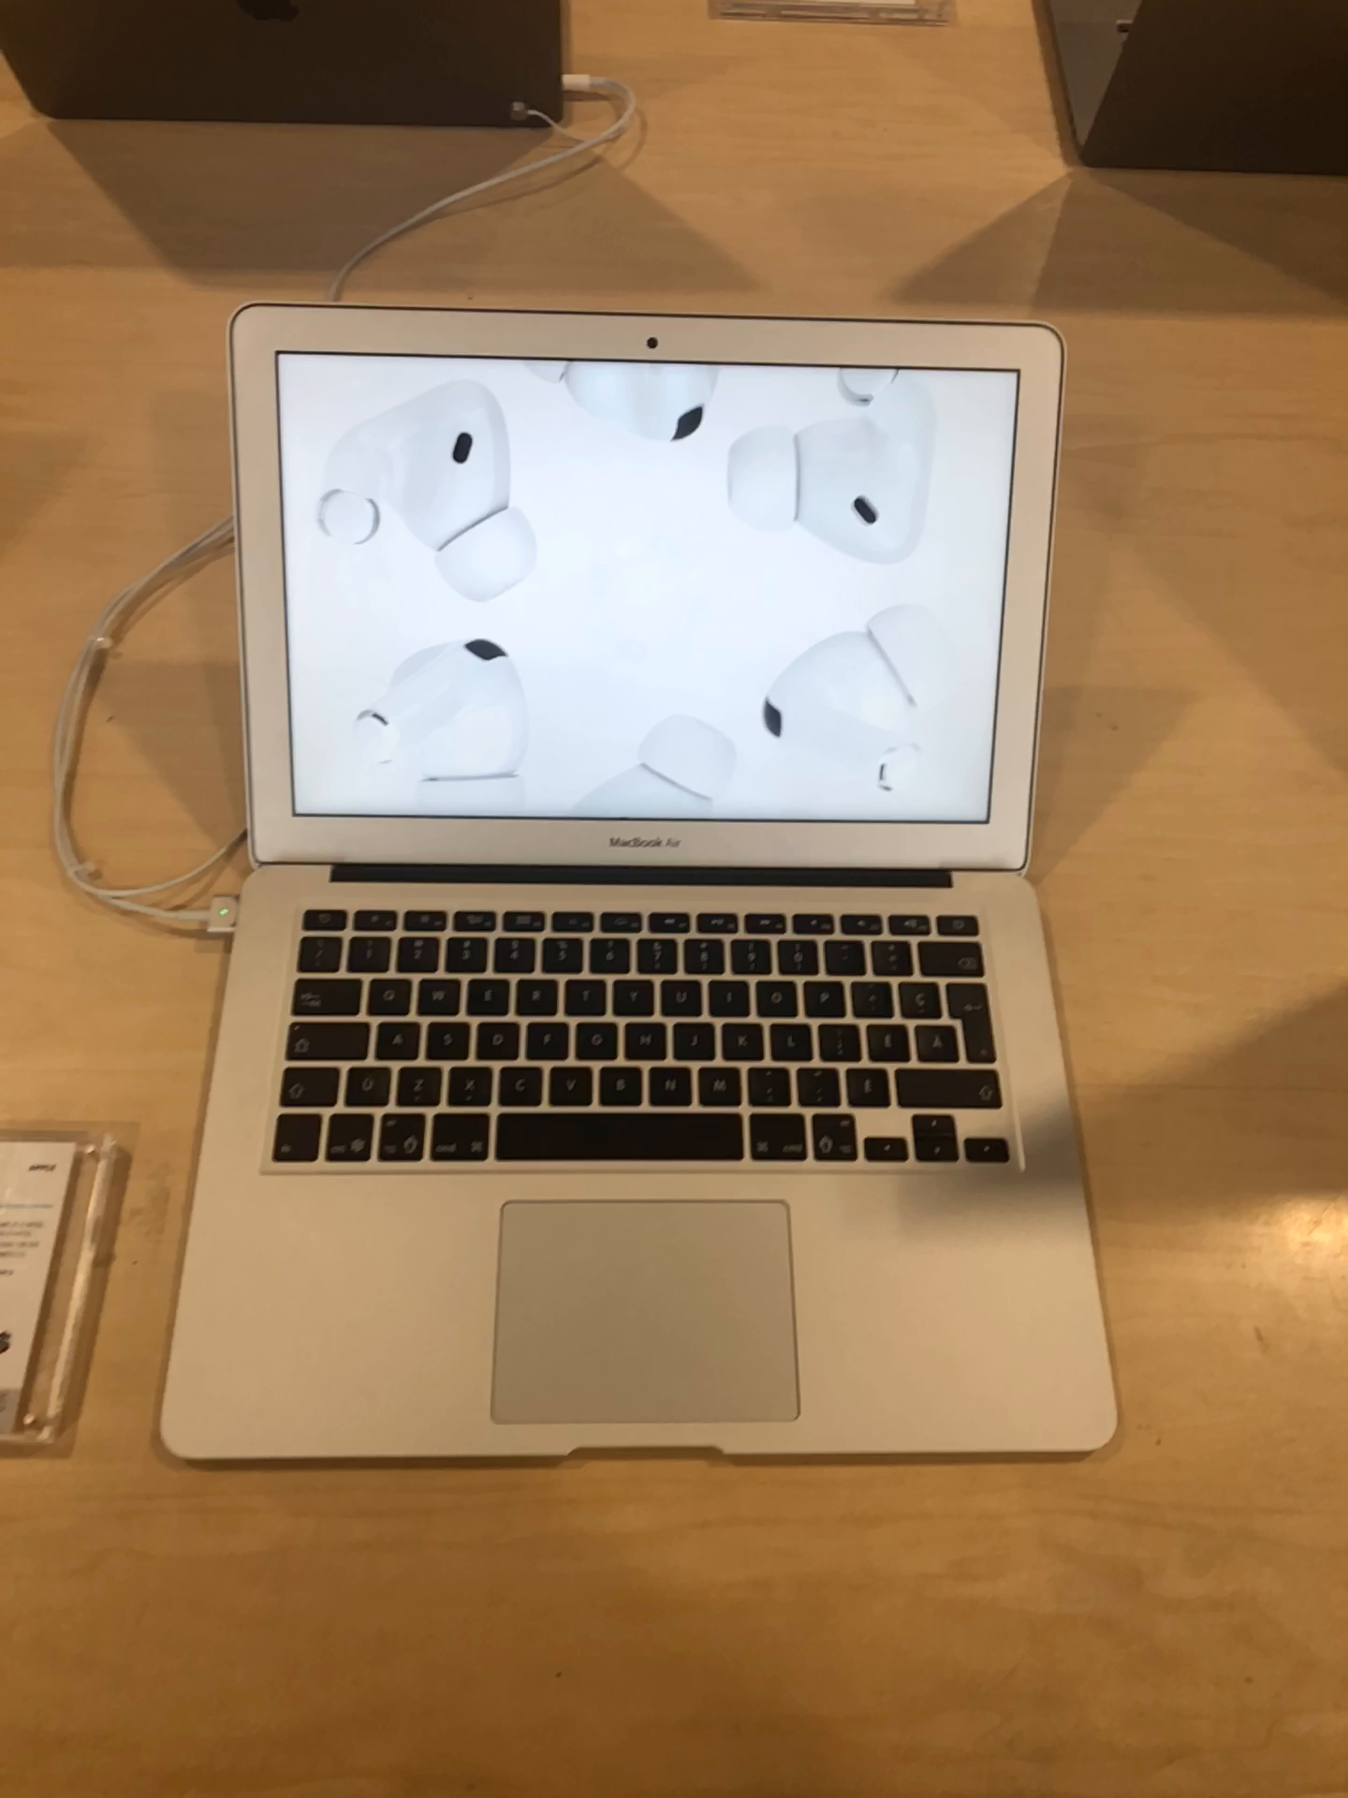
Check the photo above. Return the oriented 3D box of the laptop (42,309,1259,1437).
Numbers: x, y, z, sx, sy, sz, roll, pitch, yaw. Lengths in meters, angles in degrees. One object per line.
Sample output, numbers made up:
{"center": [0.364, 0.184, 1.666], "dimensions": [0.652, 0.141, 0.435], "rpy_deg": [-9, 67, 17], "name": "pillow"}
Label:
{"center": [-0.009, -0.019, 0.520], "dimensions": [0.302, 0.137, 0.371], "rpy_deg": [1, 60, -3], "name": "laptop"}
